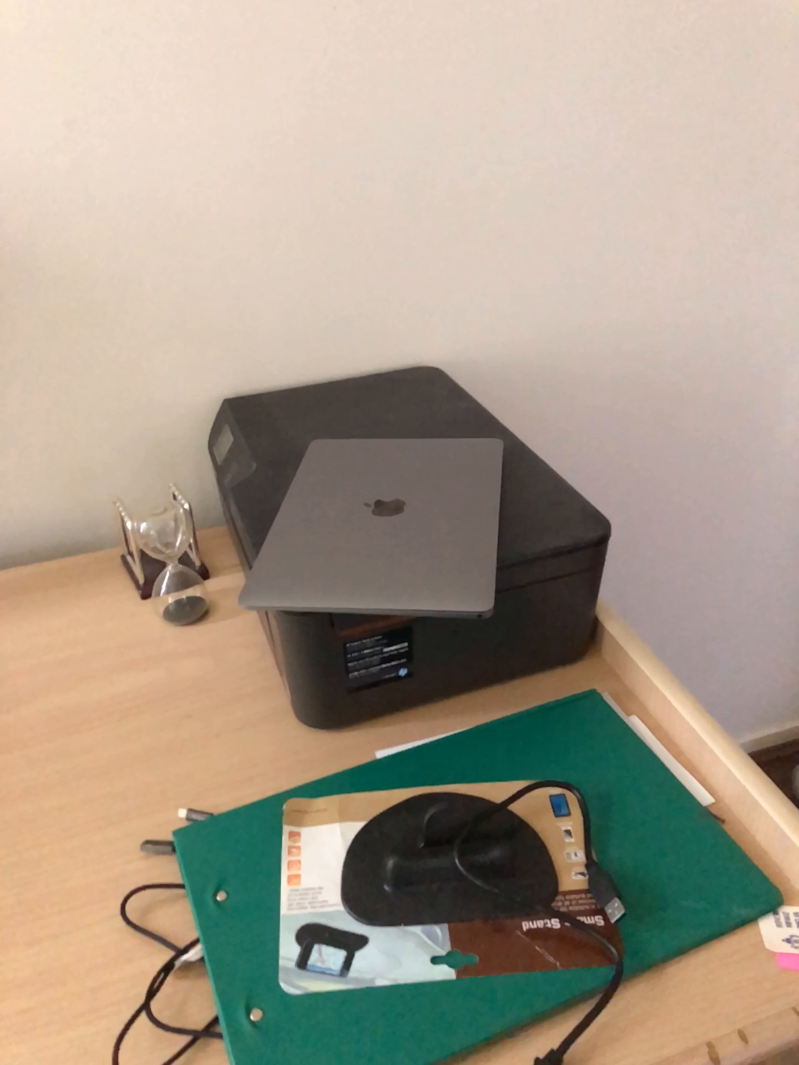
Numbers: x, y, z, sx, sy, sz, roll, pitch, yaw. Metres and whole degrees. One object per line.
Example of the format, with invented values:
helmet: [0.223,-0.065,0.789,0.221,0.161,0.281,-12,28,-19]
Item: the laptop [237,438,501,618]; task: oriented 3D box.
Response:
laptop: [-0.012,-0.015,0.759,0.188,0.007,0.267,0,34,9]
